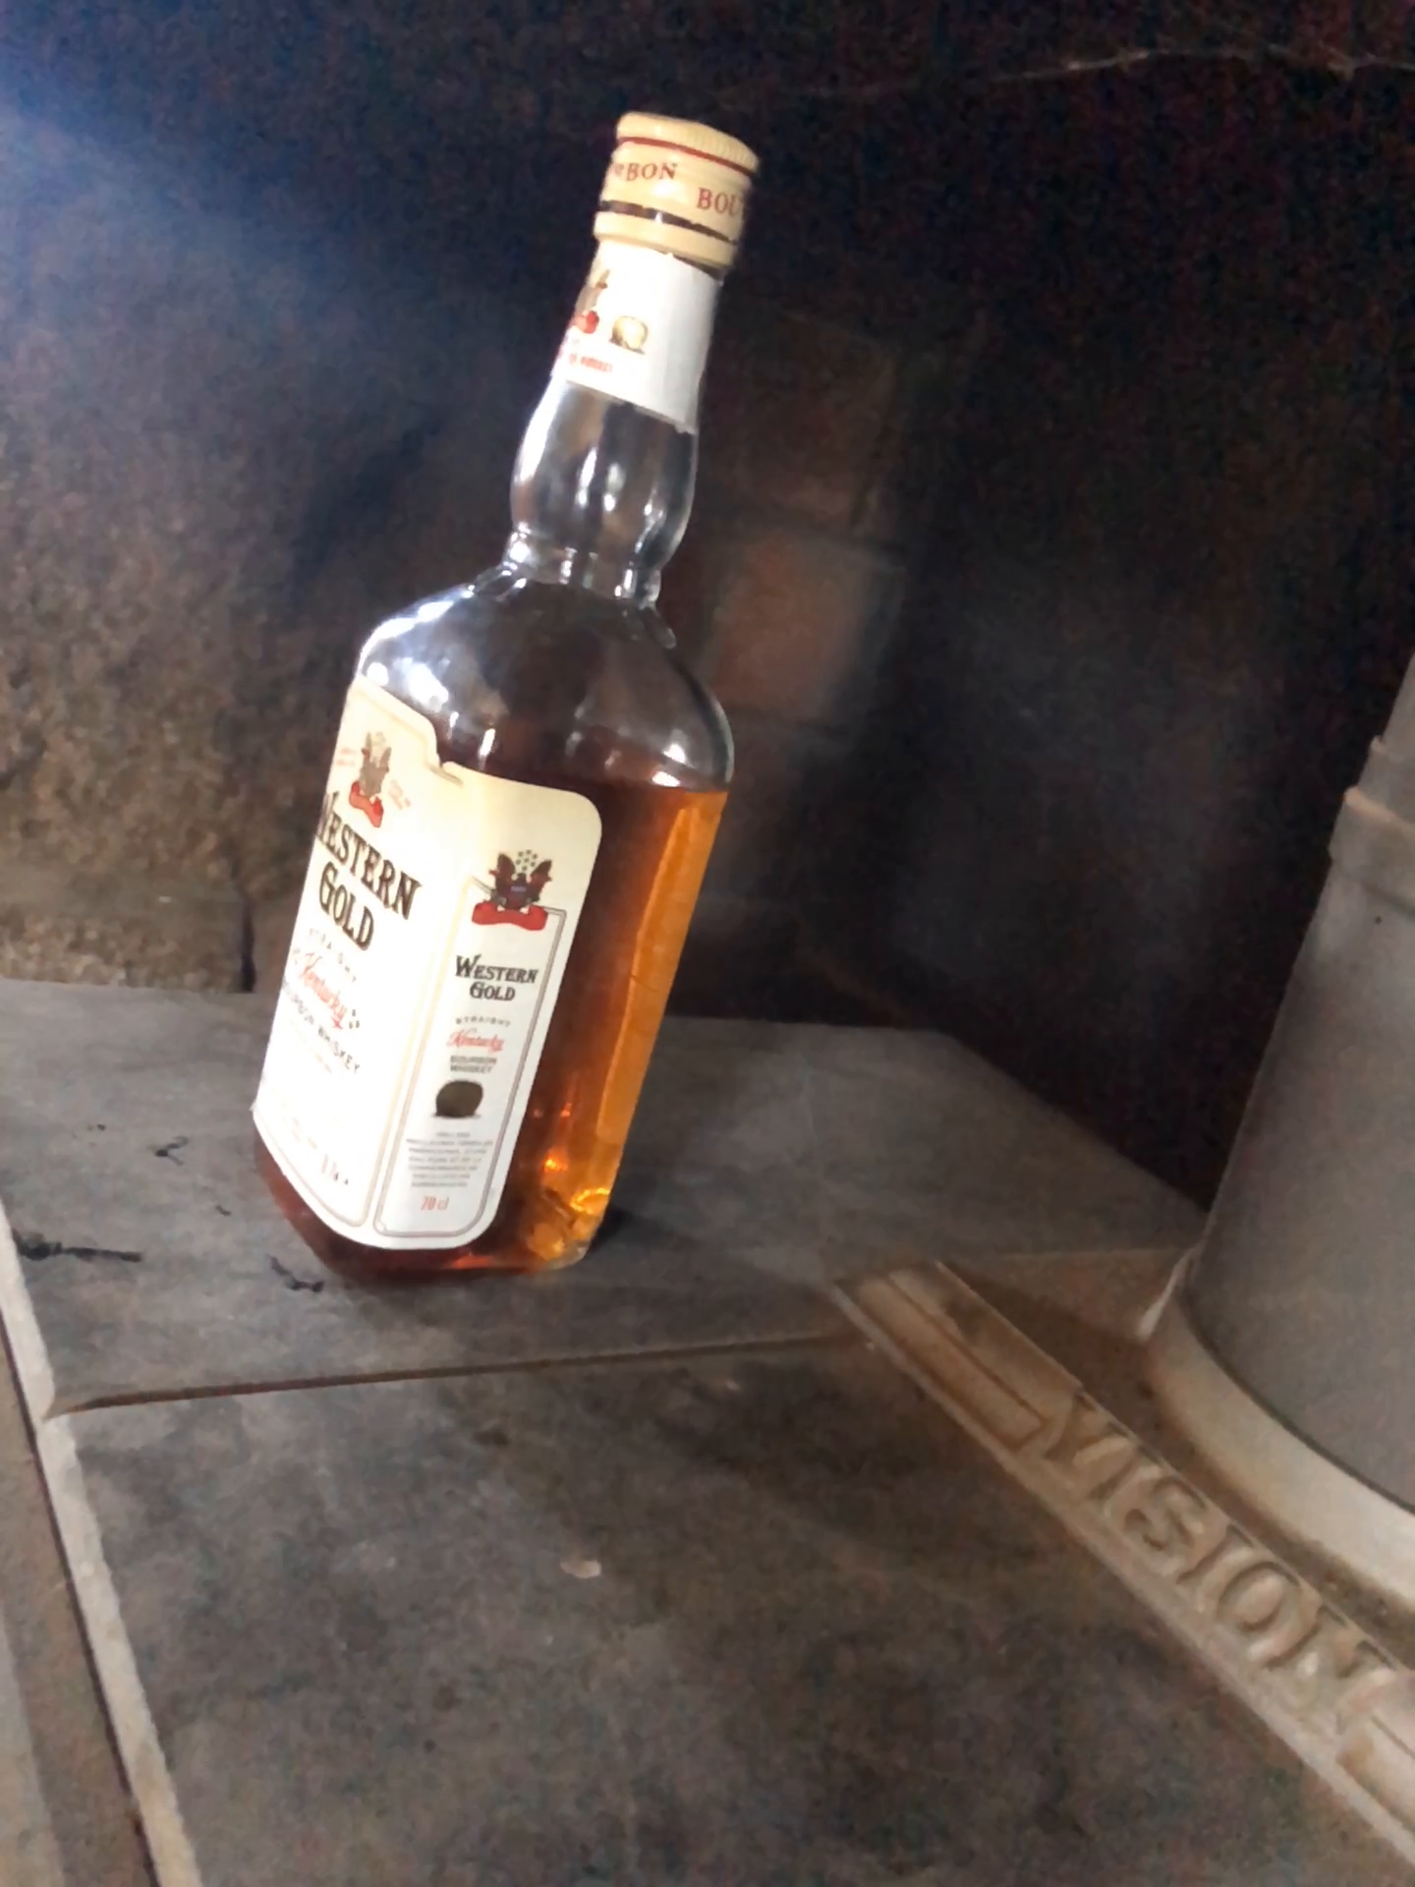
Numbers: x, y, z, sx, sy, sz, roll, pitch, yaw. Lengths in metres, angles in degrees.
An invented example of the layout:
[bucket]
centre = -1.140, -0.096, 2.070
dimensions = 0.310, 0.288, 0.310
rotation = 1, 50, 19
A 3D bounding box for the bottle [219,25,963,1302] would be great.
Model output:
[bottle]
centre = -0.036, -0.055, 0.356
dimensions = 0.080, 0.249, 0.090
rotation = 5, 17, -36
